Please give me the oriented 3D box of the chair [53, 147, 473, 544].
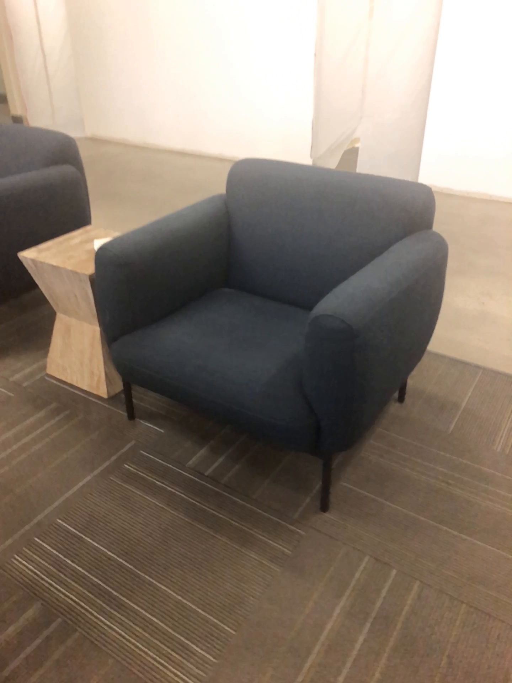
[{"bbox_3d":[0.058,-0.104,1.828,0.920,0.783,0.847,17,34,27],"label":"chair"}]
